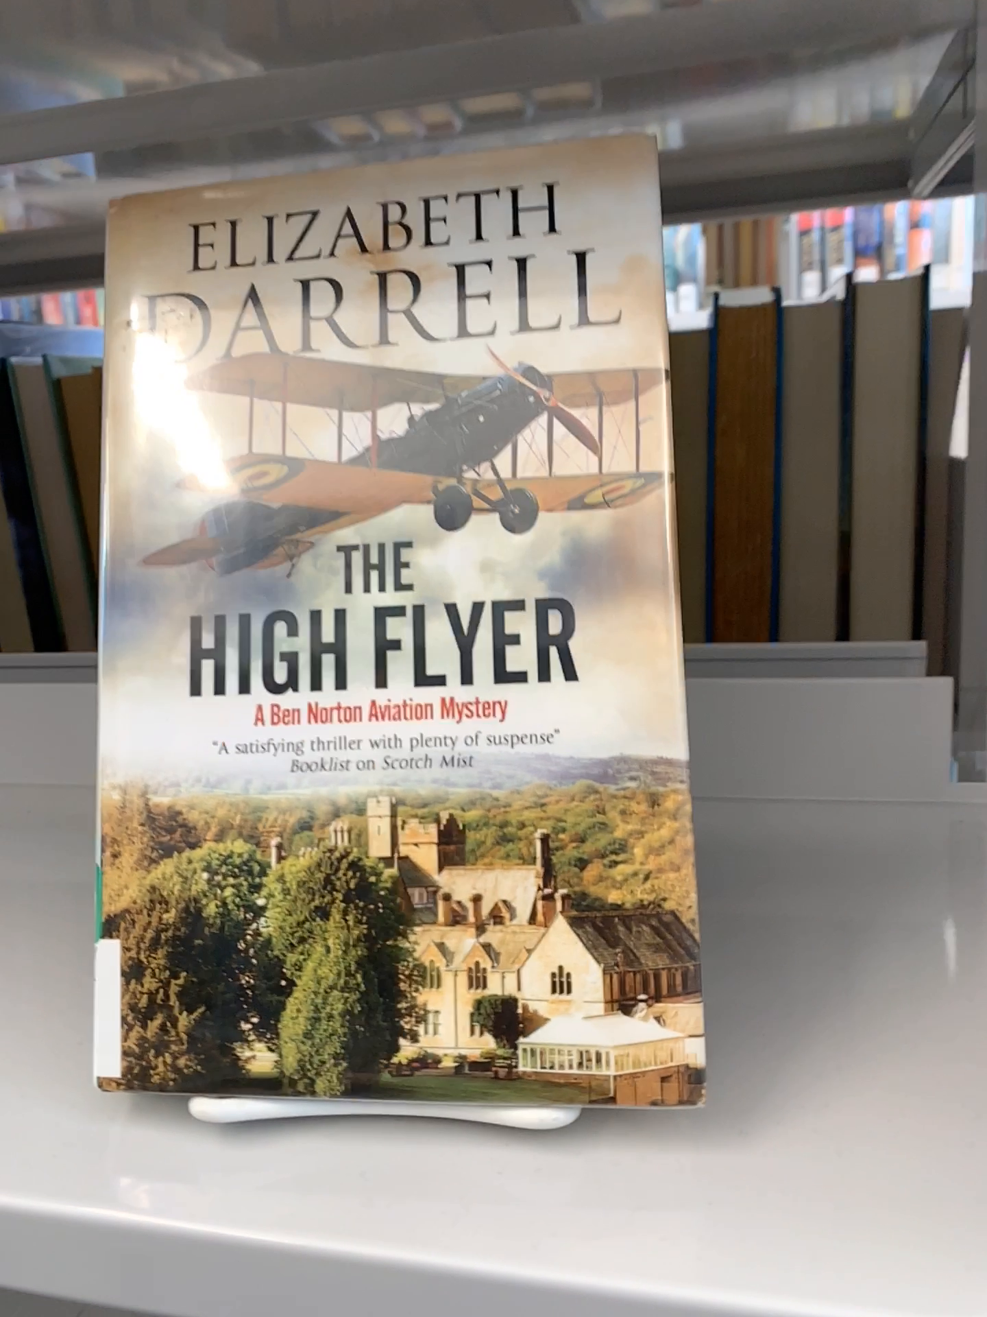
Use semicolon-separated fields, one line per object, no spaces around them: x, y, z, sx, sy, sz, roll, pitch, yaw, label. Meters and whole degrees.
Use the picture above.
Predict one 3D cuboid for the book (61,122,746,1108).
-0.024;-0.010;0.246;0.151;0.215;0.031;-2;-5;7;book
